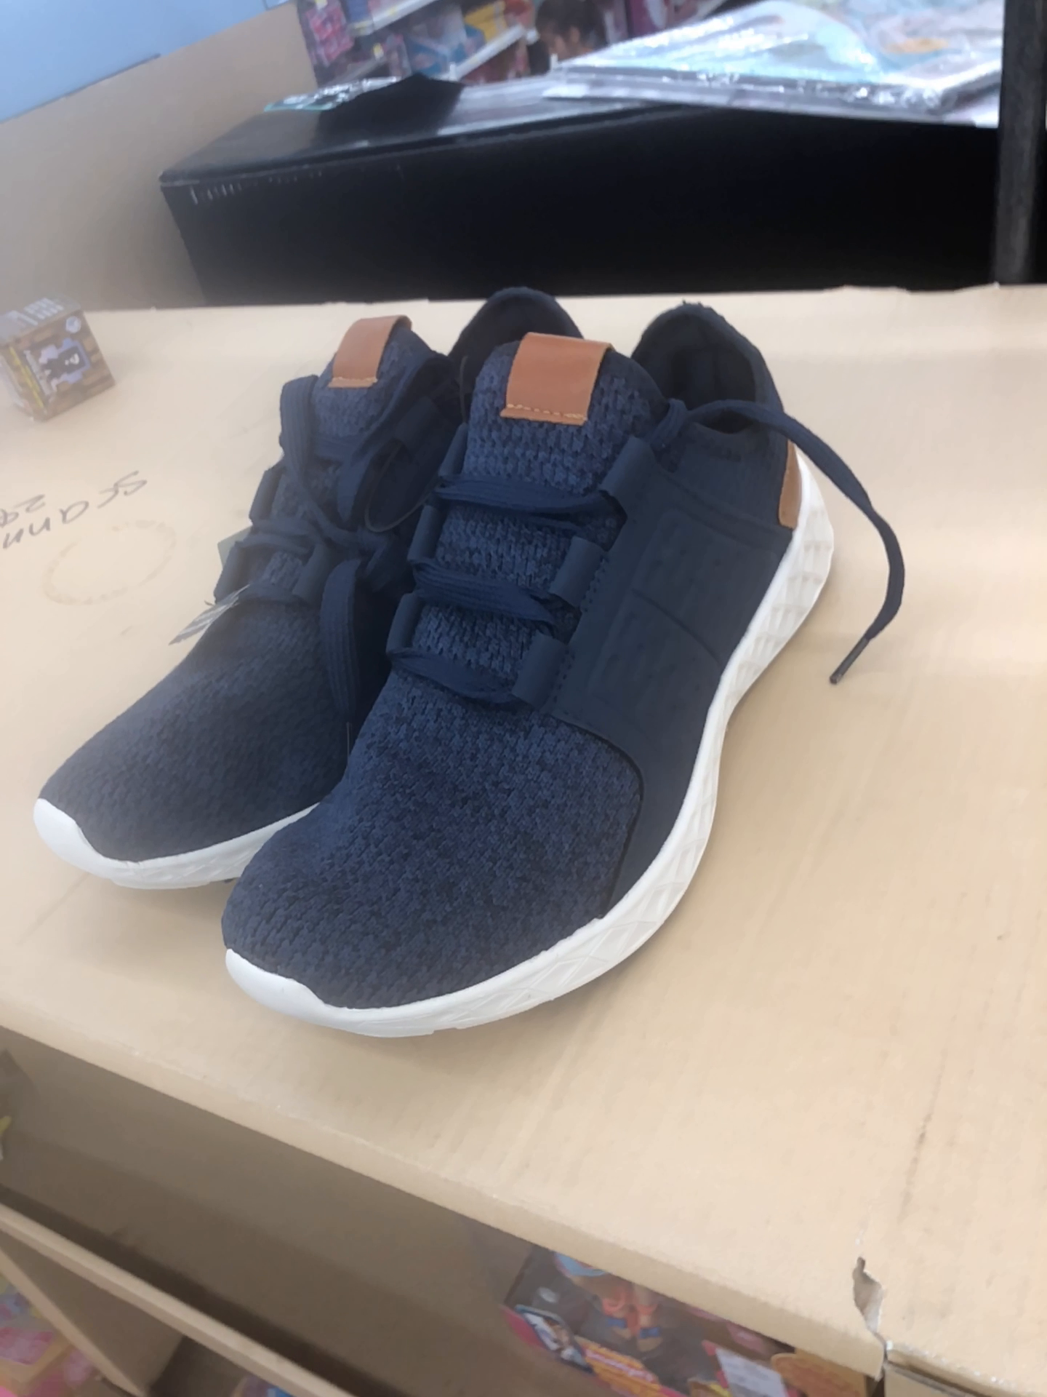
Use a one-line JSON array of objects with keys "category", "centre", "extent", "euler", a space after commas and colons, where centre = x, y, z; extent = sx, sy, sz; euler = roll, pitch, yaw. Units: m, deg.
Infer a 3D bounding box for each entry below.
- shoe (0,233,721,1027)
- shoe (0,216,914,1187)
[{"category": "shoe", "centre": [-0.058, -0.050, 0.425], "extent": [0.110, 0.129, 0.290], "euler": [18, 48, 36]}, {"category": "shoe", "centre": [0.017, -0.031, 0.353], "extent": [0.110, 0.120, 0.291], "euler": [12, 45, 31]}]
